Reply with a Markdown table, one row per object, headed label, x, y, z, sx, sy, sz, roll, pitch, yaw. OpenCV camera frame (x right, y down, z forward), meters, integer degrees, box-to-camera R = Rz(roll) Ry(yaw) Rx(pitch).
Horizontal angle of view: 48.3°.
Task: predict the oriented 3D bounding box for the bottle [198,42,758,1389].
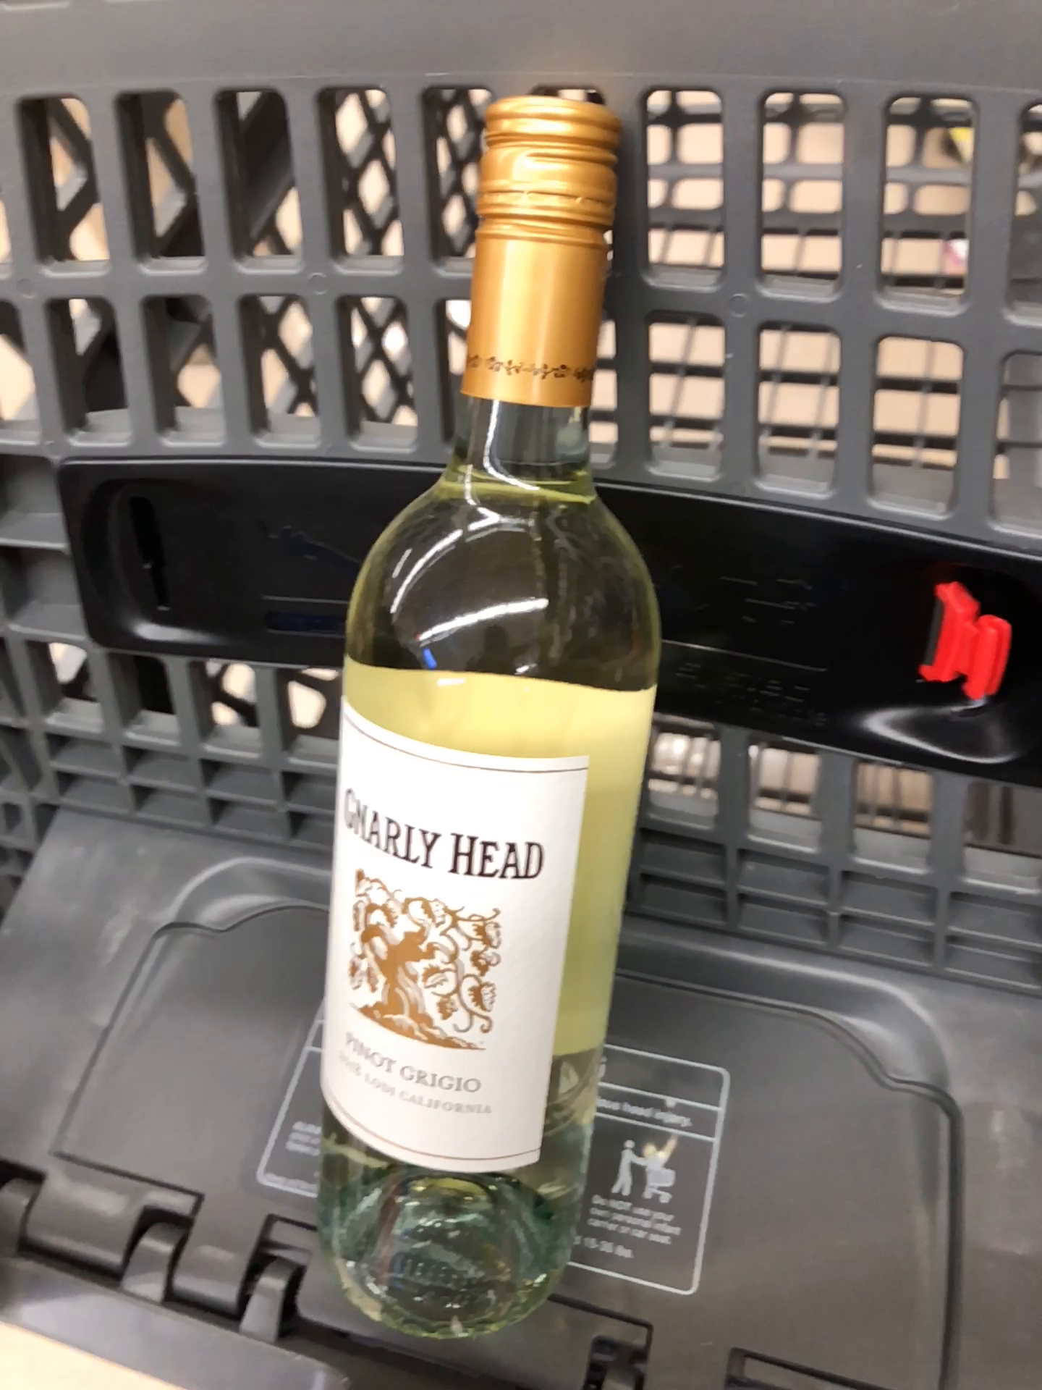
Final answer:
| label | x | y | z | sx | sy | sz | roll | pitch | yaw |
| --- | --- | --- | --- | --- | --- | --- | --- | --- | --- |
| bottle | -0.014 | 0.012 | 0.275 | 0.080 | 0.070 | 0.280 | 12 | 105 | 18 |
